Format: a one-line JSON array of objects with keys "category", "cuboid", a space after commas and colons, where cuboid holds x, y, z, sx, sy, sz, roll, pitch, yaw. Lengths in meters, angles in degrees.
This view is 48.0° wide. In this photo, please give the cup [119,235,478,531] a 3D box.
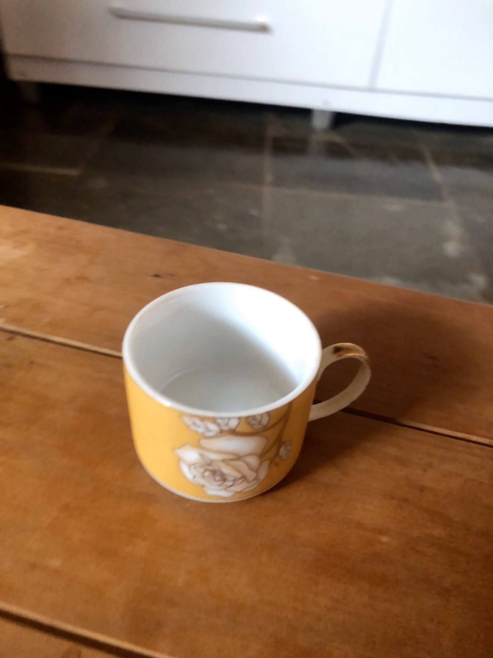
[{"category": "cup", "cuboid": [0.009, 0.012, 0.180, 0.090, 0.050, 0.070, -6, 42, -13]}]
